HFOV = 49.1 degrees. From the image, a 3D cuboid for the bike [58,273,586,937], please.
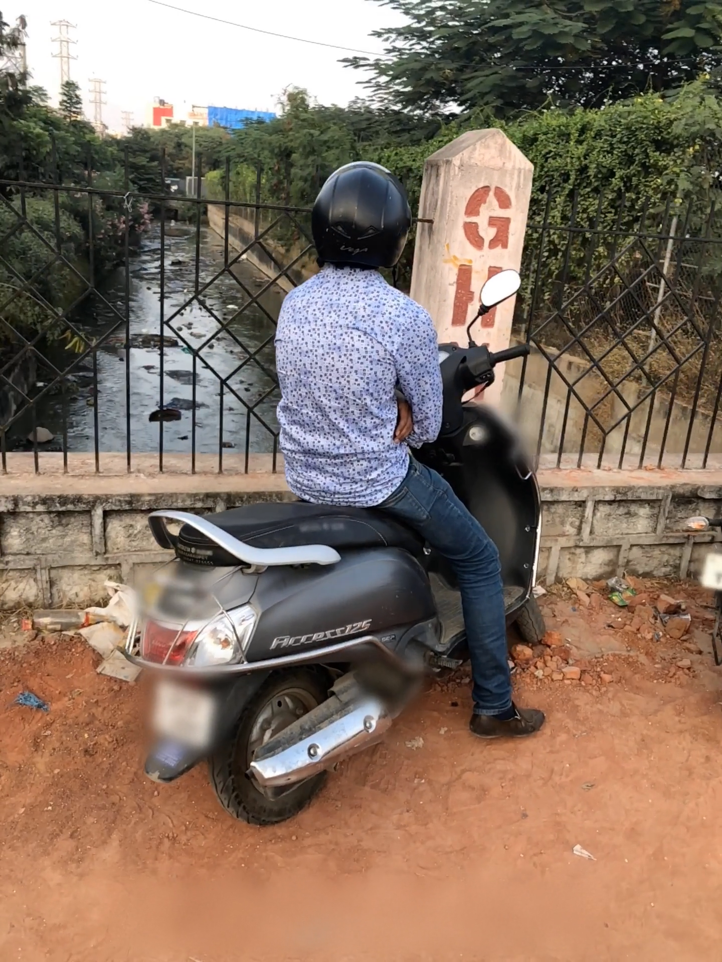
[{"bbox_3d":[0.002,0.119,2.433,0.797,1.217,1.585,14,24,25],"label":"bike"}]
